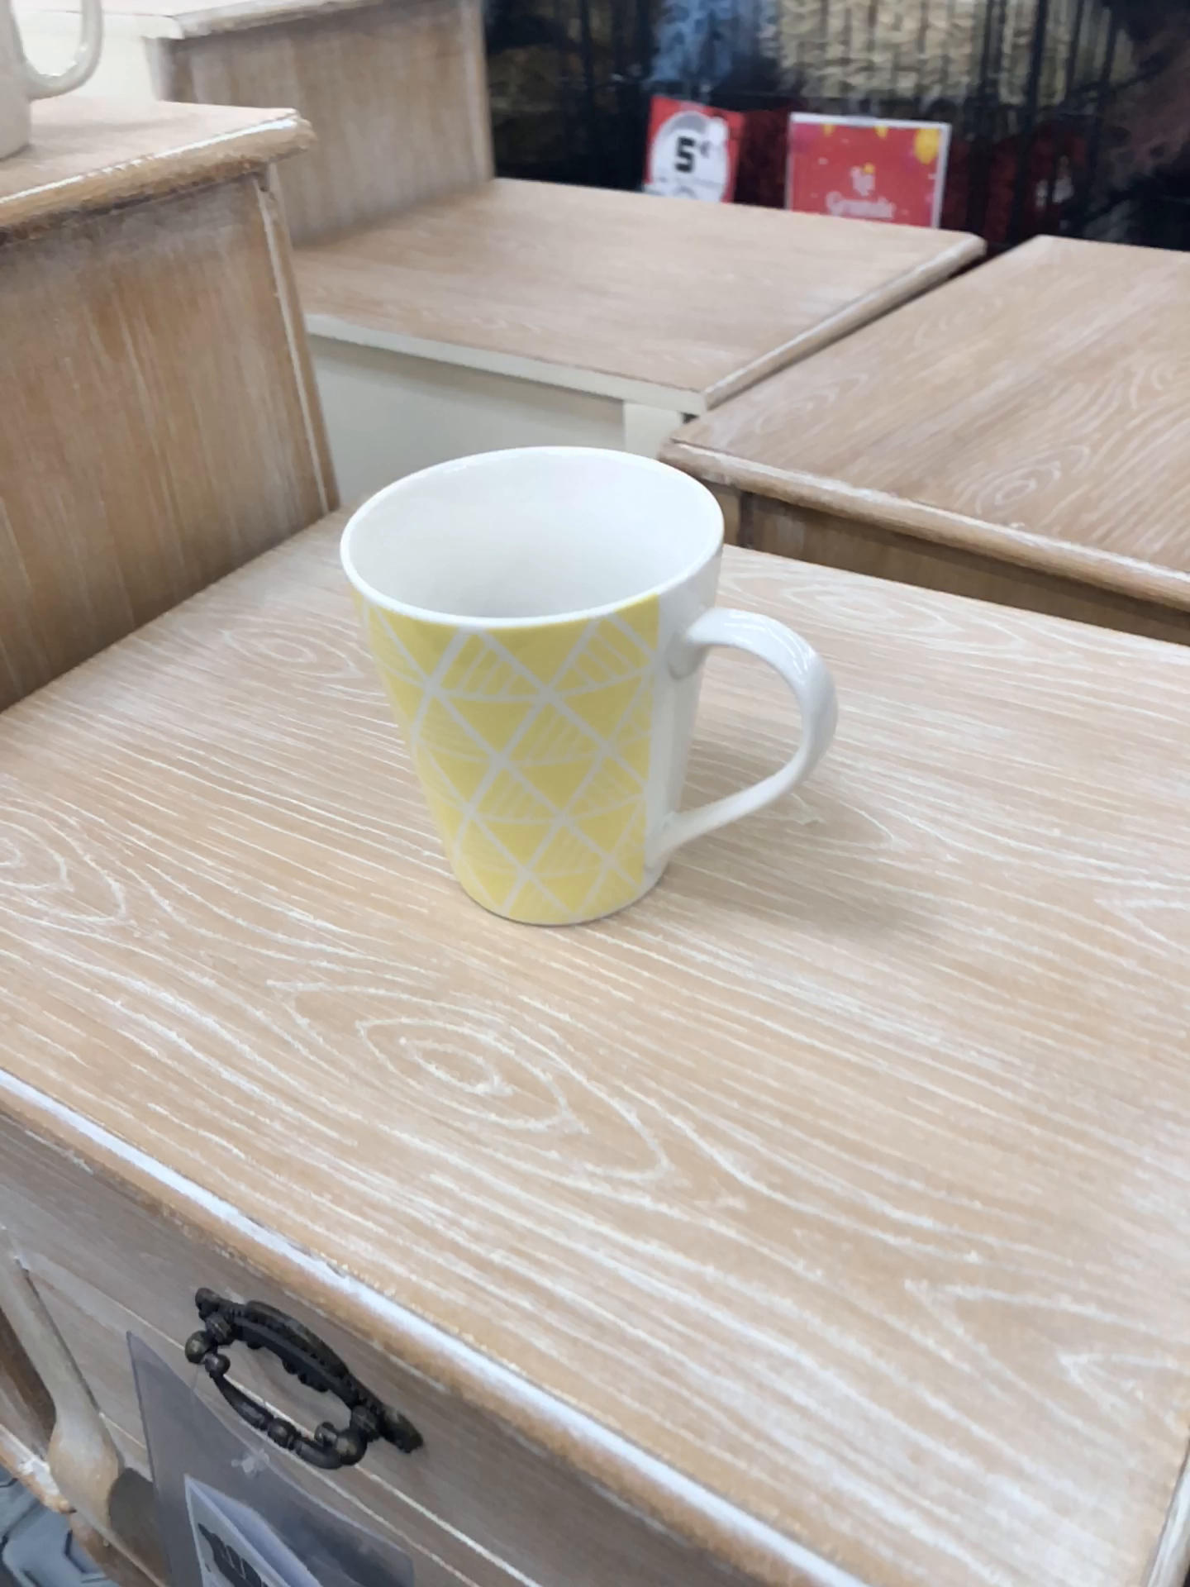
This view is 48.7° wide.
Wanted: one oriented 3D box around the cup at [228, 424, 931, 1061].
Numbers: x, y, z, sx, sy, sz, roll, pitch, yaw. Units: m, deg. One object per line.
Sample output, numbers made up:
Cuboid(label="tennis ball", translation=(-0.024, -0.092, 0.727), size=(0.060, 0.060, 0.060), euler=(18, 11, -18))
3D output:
Cuboid(label="cup", translation=(0.001, -0.021, 0.323), size=(0.125, 0.090, 0.103), euler=(16, 41, 25))
